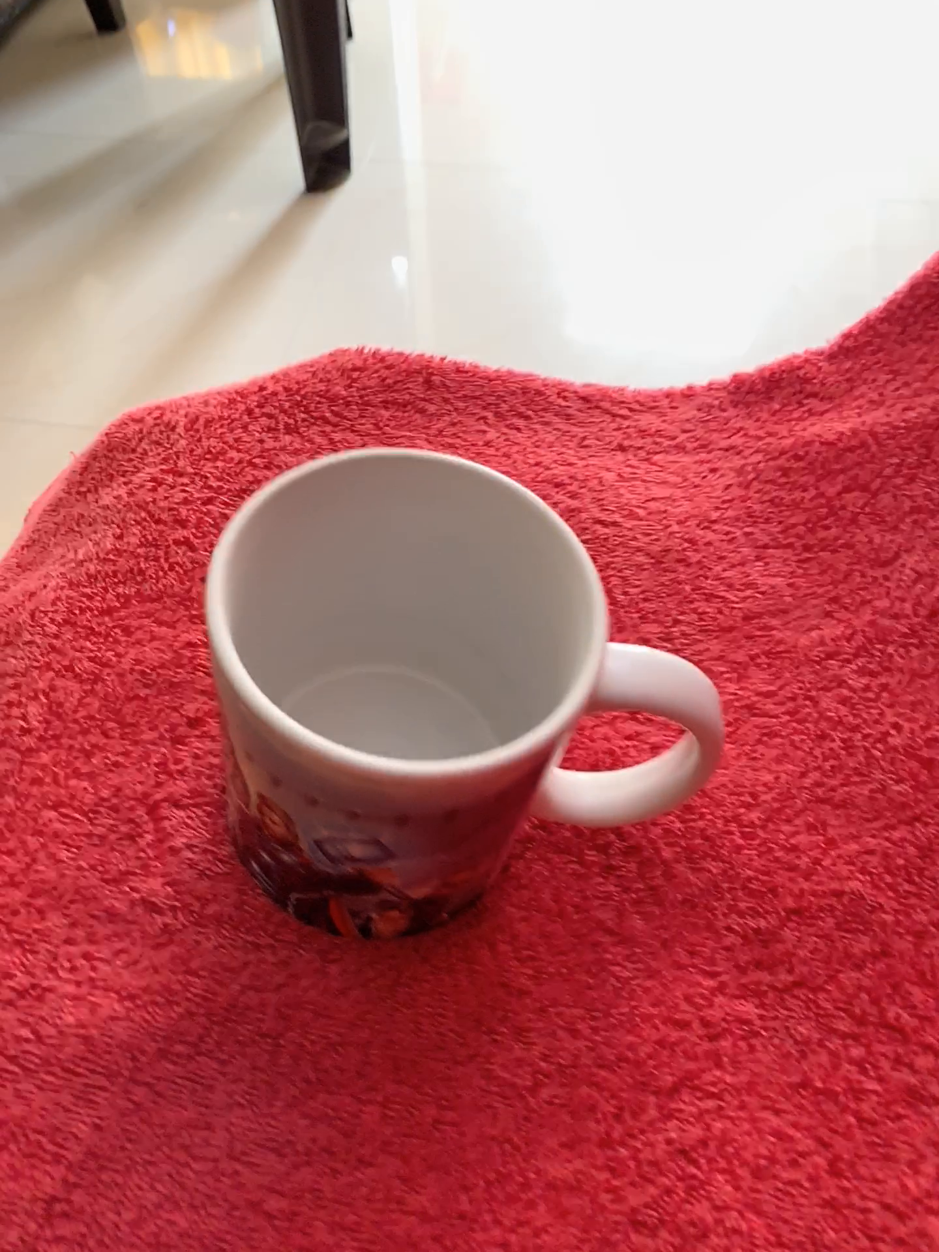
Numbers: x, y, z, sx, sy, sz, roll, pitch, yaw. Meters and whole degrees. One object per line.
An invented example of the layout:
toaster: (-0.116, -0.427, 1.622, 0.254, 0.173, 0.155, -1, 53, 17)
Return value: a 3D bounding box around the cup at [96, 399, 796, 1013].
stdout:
cup: (-0.001, 0.023, 0.226, 0.120, 0.089, 0.091, 11, 59, 0)
